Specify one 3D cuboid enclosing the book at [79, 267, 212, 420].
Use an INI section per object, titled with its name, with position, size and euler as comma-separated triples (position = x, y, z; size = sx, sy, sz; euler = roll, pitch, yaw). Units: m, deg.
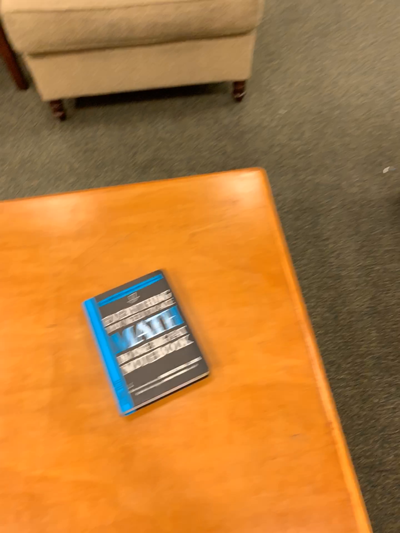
[book]
position = -0.097, 0.125, 0.707
size = 0.160, 0.040, 0.210
euler = -23, 63, -10
